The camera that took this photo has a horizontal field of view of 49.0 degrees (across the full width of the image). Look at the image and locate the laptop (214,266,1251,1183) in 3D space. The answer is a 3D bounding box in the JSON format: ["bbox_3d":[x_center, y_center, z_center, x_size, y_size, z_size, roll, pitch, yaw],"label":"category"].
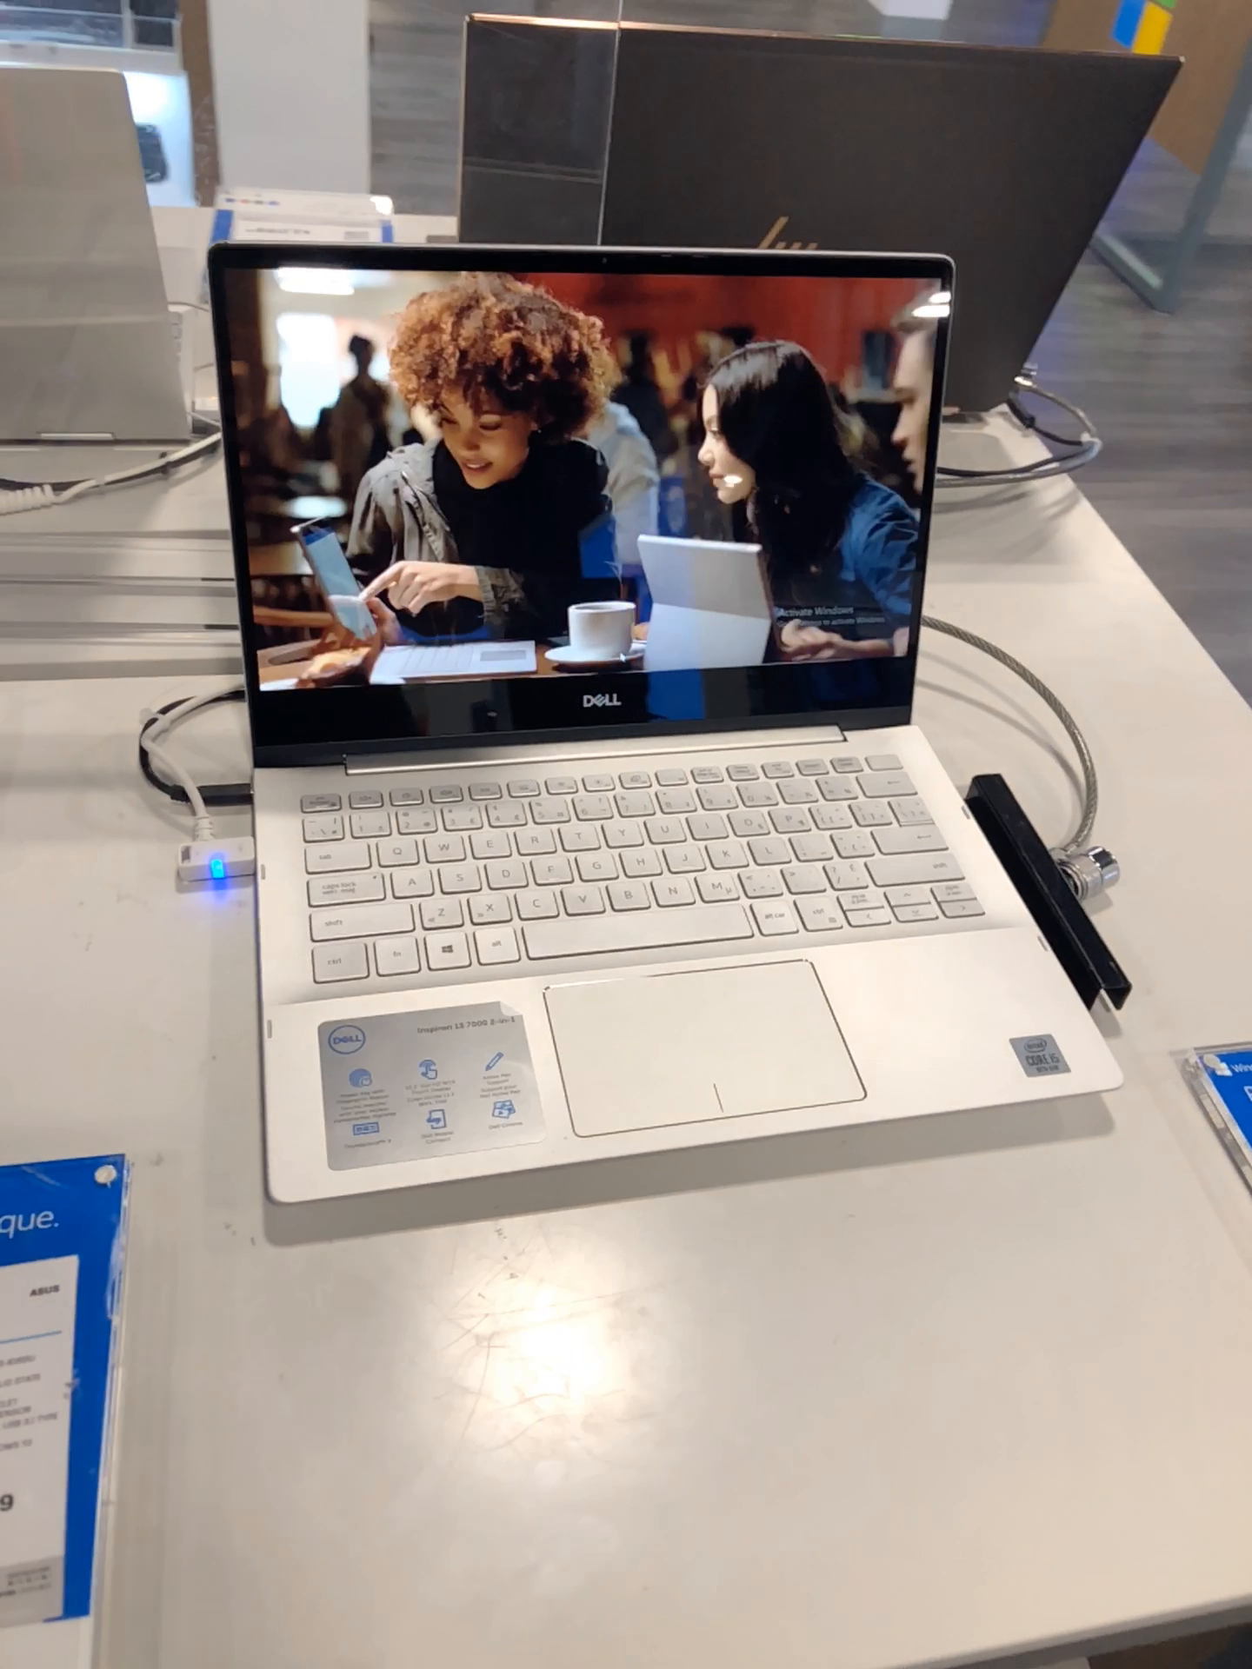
[{"bbox_3d":[0.013,-0.056,0.485,0.285,0.186,0.265,-4,43,-13],"label":"laptop"}]
